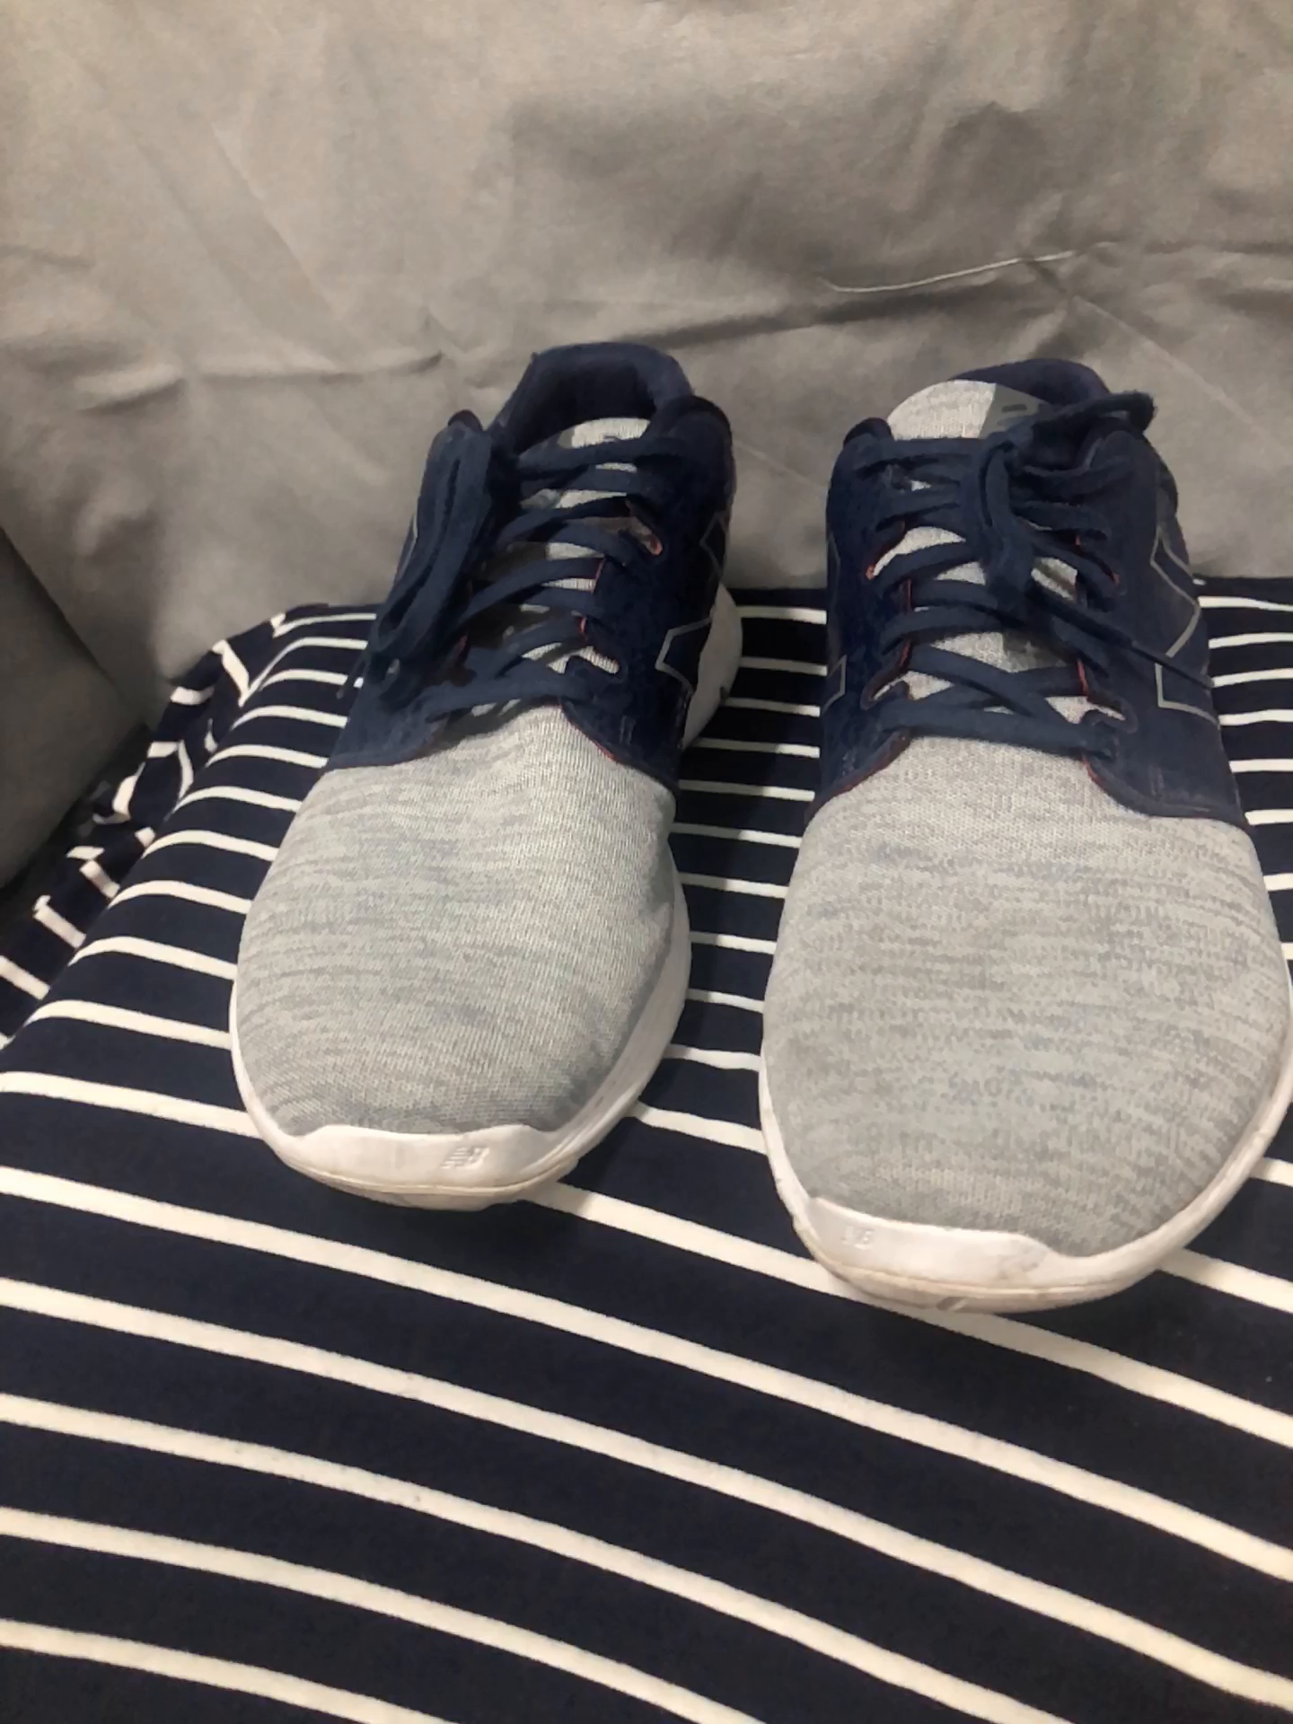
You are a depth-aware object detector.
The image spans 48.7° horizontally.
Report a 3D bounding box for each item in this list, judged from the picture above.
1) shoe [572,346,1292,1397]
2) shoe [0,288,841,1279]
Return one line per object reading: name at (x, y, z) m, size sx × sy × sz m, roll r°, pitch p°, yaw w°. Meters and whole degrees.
shoe at (0.080, -0.031, 0.313) m, size 0.120 × 0.079 × 0.262 m, roll 3°, pitch 37°, yaw 14°
shoe at (-0.028, -0.058, 0.377) m, size 0.120 × 0.089 × 0.323 m, roll 3°, pitch 37°, yaw 14°
